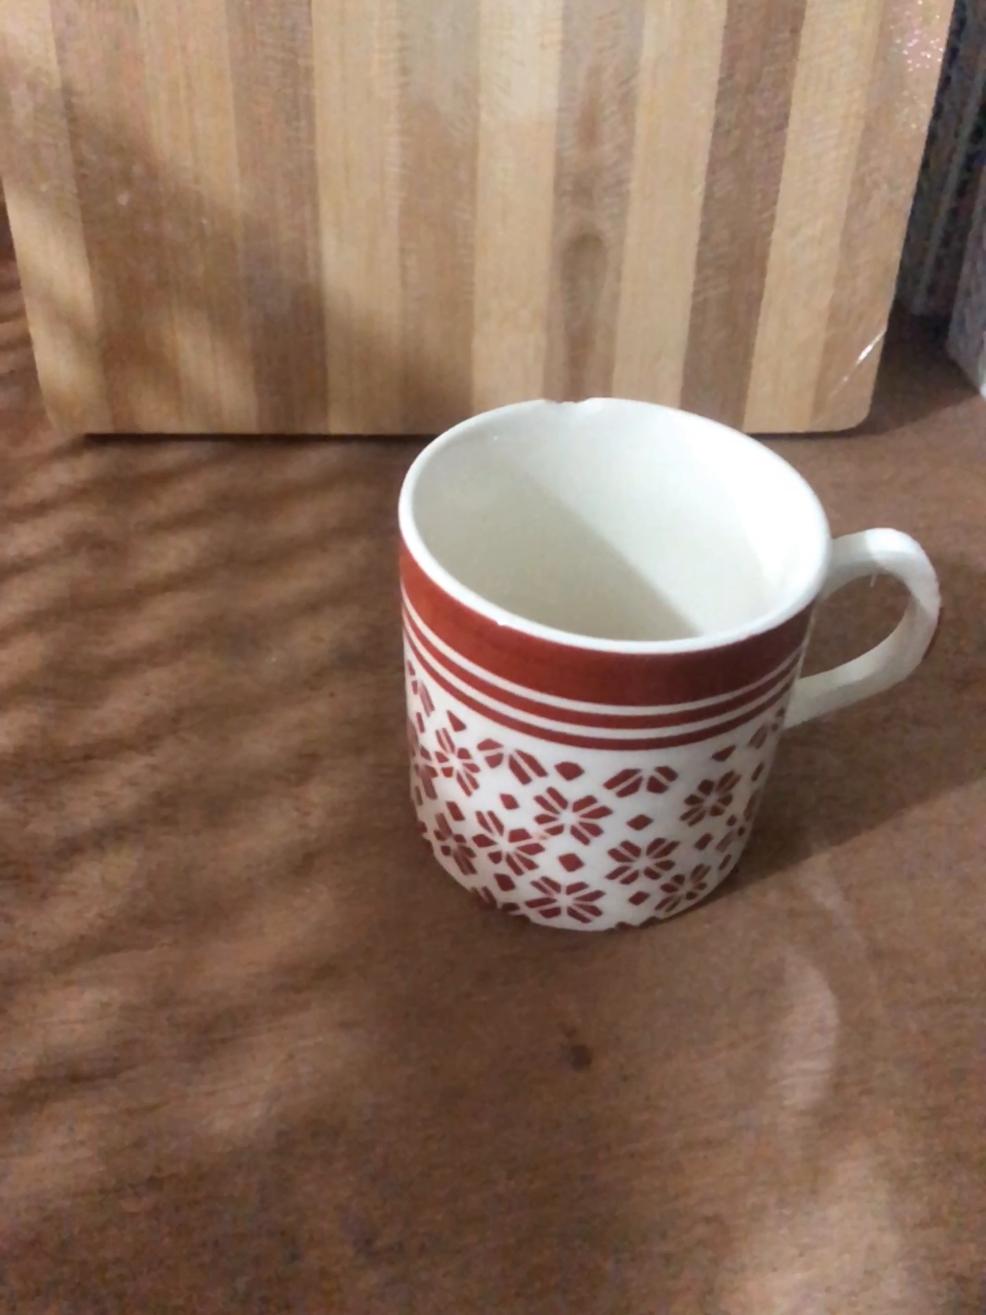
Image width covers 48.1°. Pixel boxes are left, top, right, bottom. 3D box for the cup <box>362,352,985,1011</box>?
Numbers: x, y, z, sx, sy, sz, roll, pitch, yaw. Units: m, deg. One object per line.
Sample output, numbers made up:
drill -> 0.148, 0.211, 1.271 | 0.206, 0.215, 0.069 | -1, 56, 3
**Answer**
cup -> 0.029, 0.004, 0.186 | 0.090, 0.080, 0.060 | -8, 45, -10
